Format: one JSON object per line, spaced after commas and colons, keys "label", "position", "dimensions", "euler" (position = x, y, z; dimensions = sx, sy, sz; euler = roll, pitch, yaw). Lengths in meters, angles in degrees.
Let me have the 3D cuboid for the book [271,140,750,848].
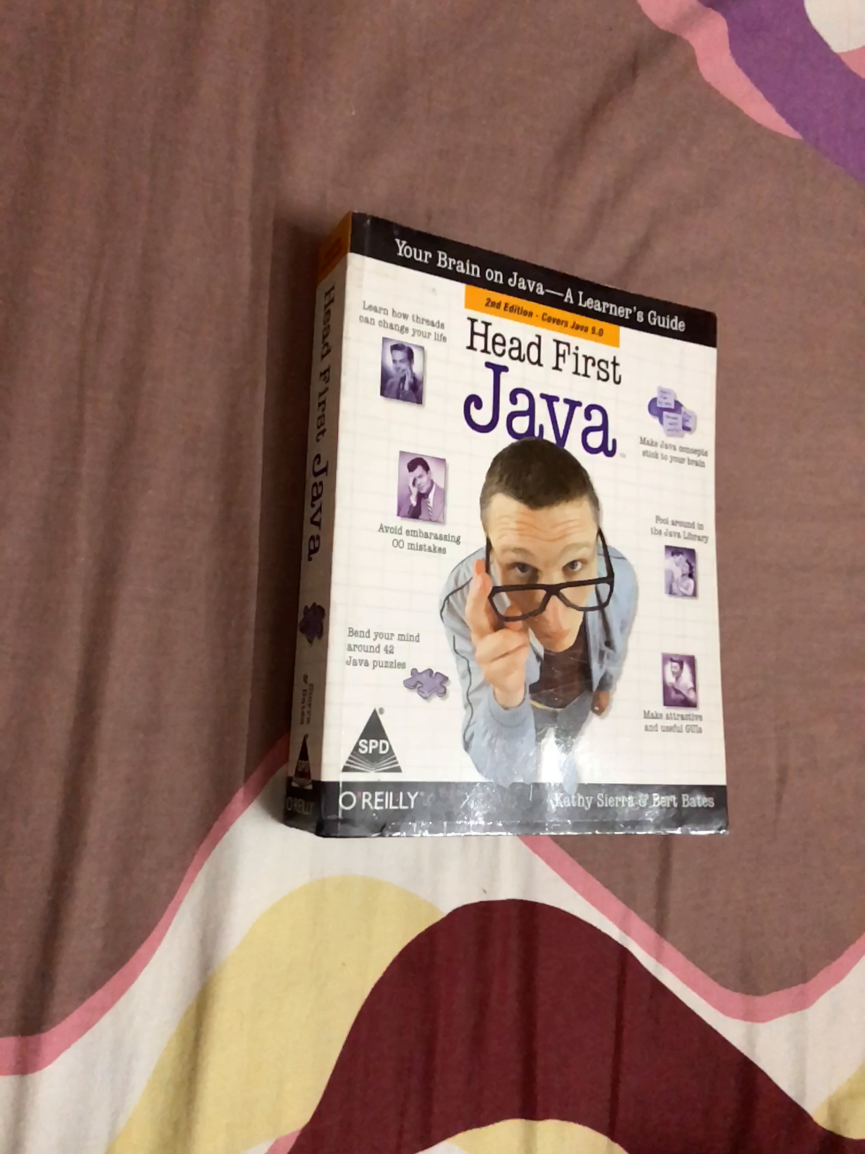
{"label": "book", "position": [0.040, -0.024, 0.403], "dimensions": [0.191, 0.050, 0.260], "euler": [7, 79, -25]}
